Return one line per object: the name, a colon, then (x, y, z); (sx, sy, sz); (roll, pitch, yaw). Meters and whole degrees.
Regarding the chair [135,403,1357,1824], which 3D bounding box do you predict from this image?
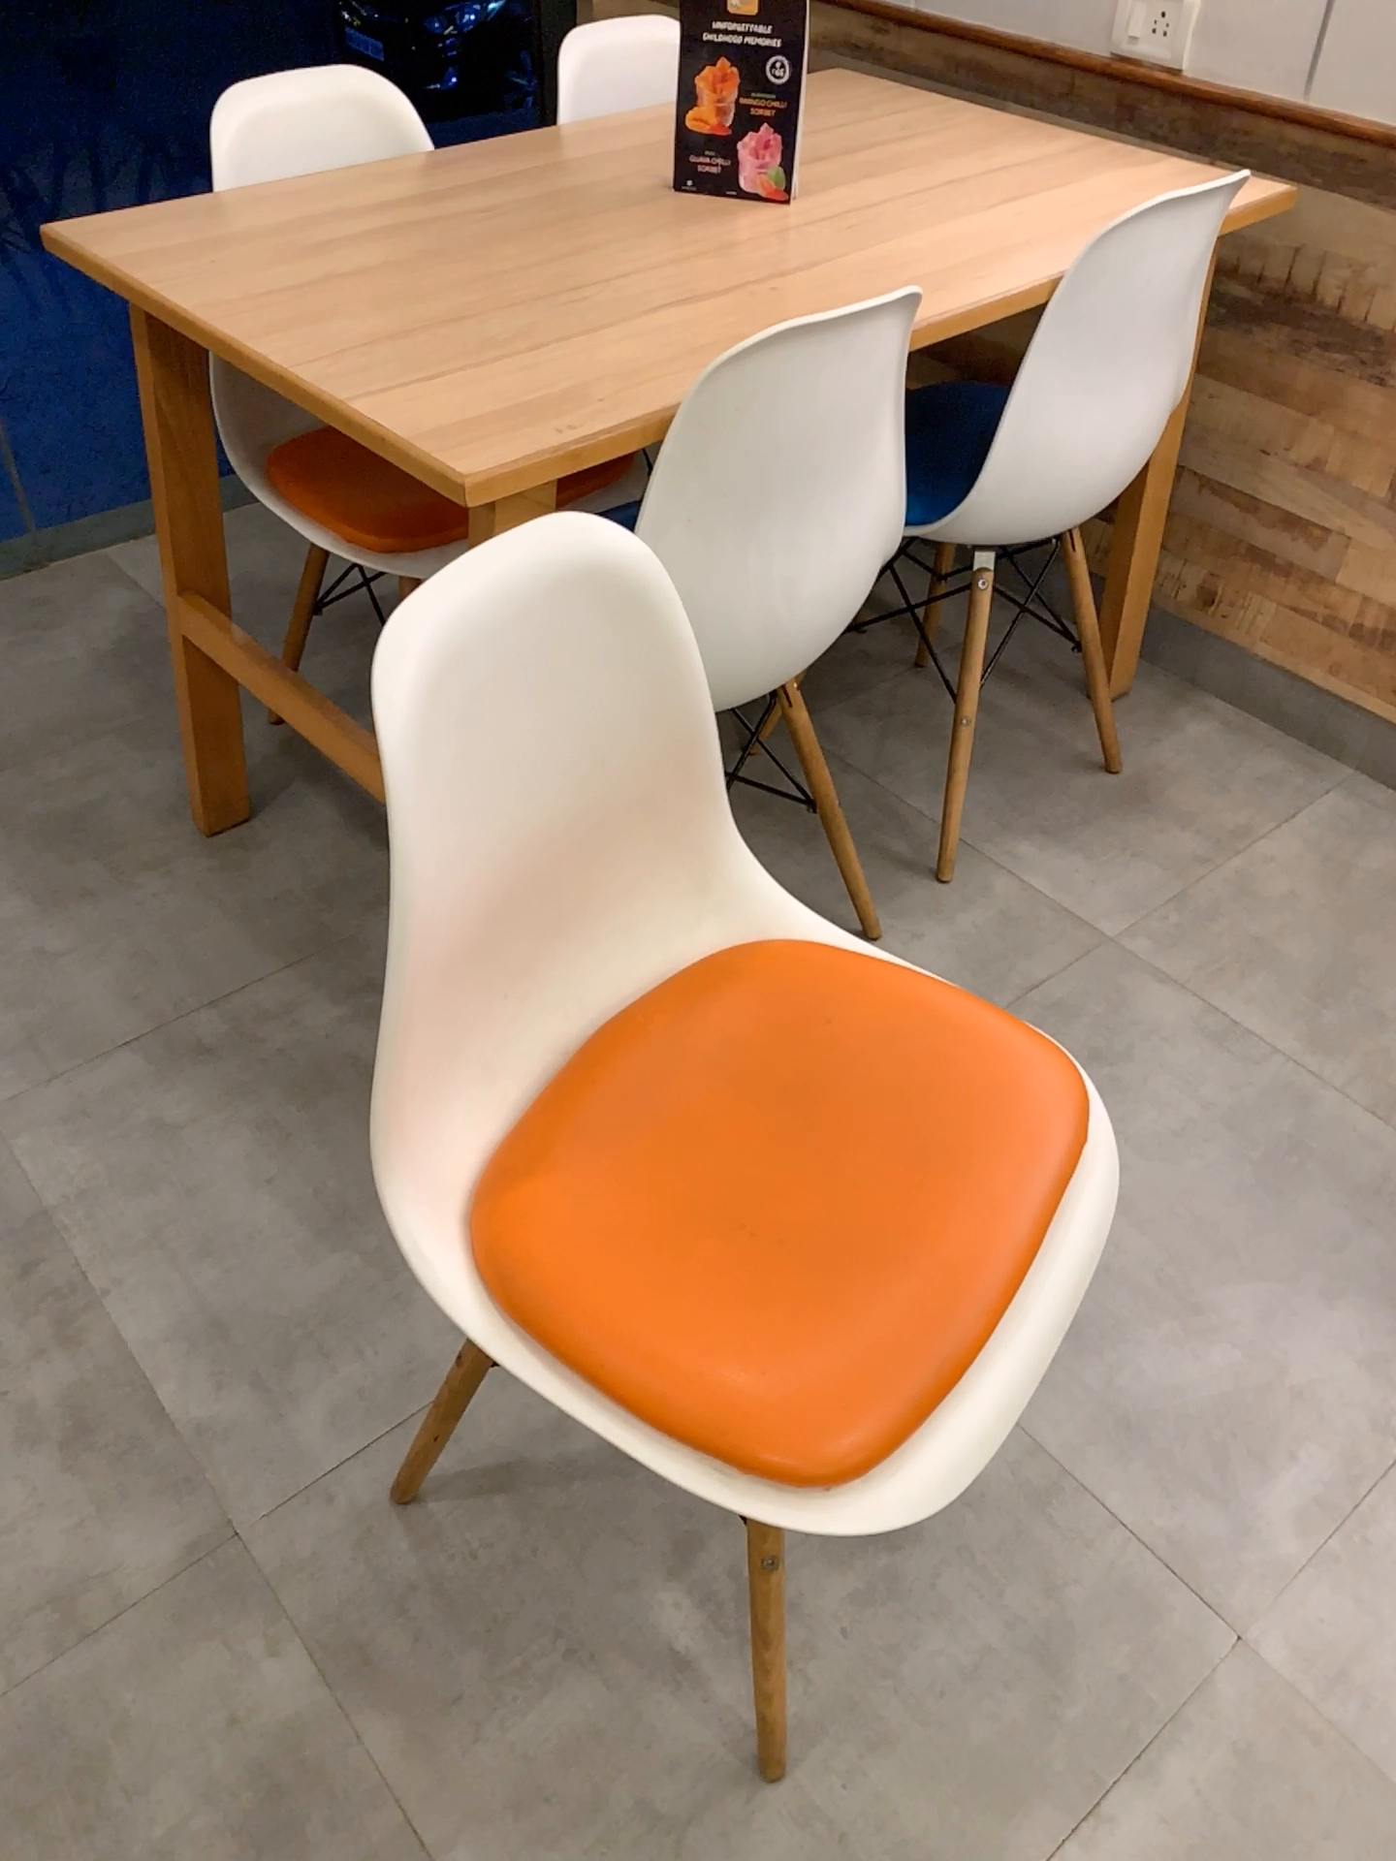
chair: (0.036, 0.128, 0.958); (0.451, 0.724, 0.443); (25, 46, 24)
